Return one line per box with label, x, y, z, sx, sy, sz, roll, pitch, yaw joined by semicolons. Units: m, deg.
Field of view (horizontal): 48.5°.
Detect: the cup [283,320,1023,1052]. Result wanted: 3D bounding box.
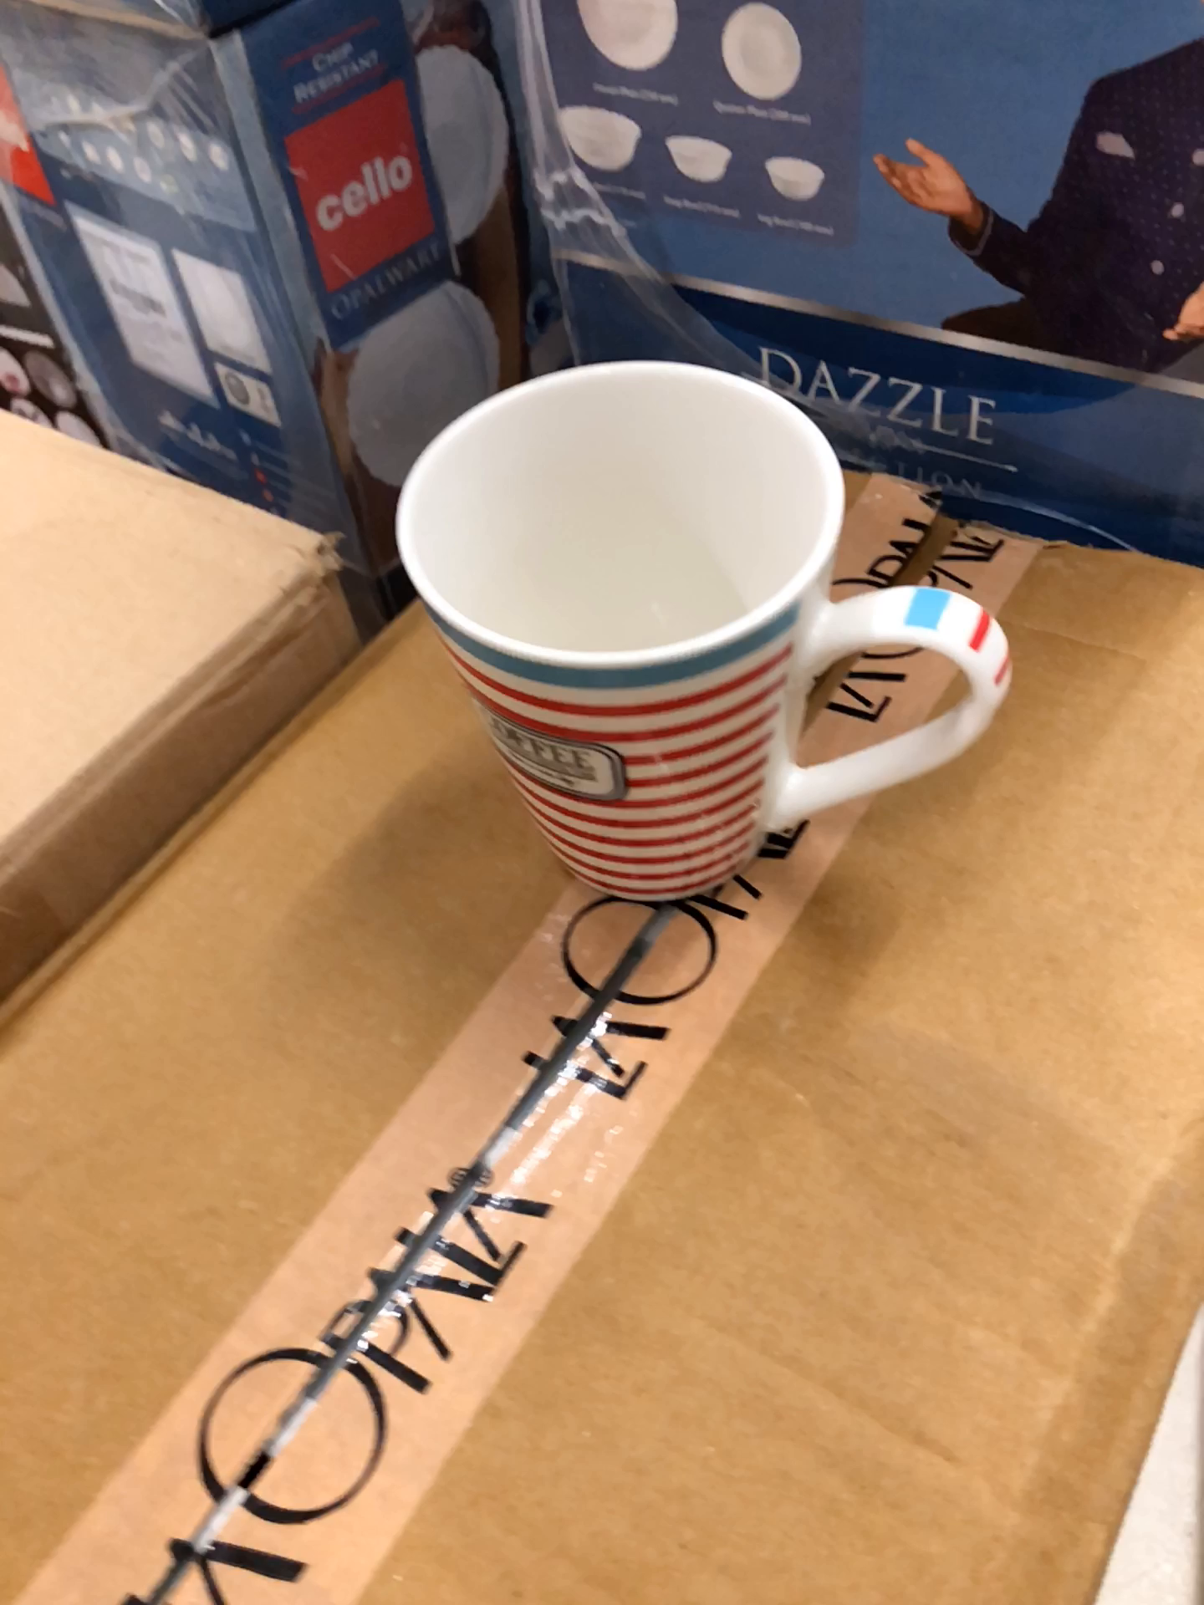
cup;0.017;-0.027;0.280;0.110;0.099;0.091;13;51;19
